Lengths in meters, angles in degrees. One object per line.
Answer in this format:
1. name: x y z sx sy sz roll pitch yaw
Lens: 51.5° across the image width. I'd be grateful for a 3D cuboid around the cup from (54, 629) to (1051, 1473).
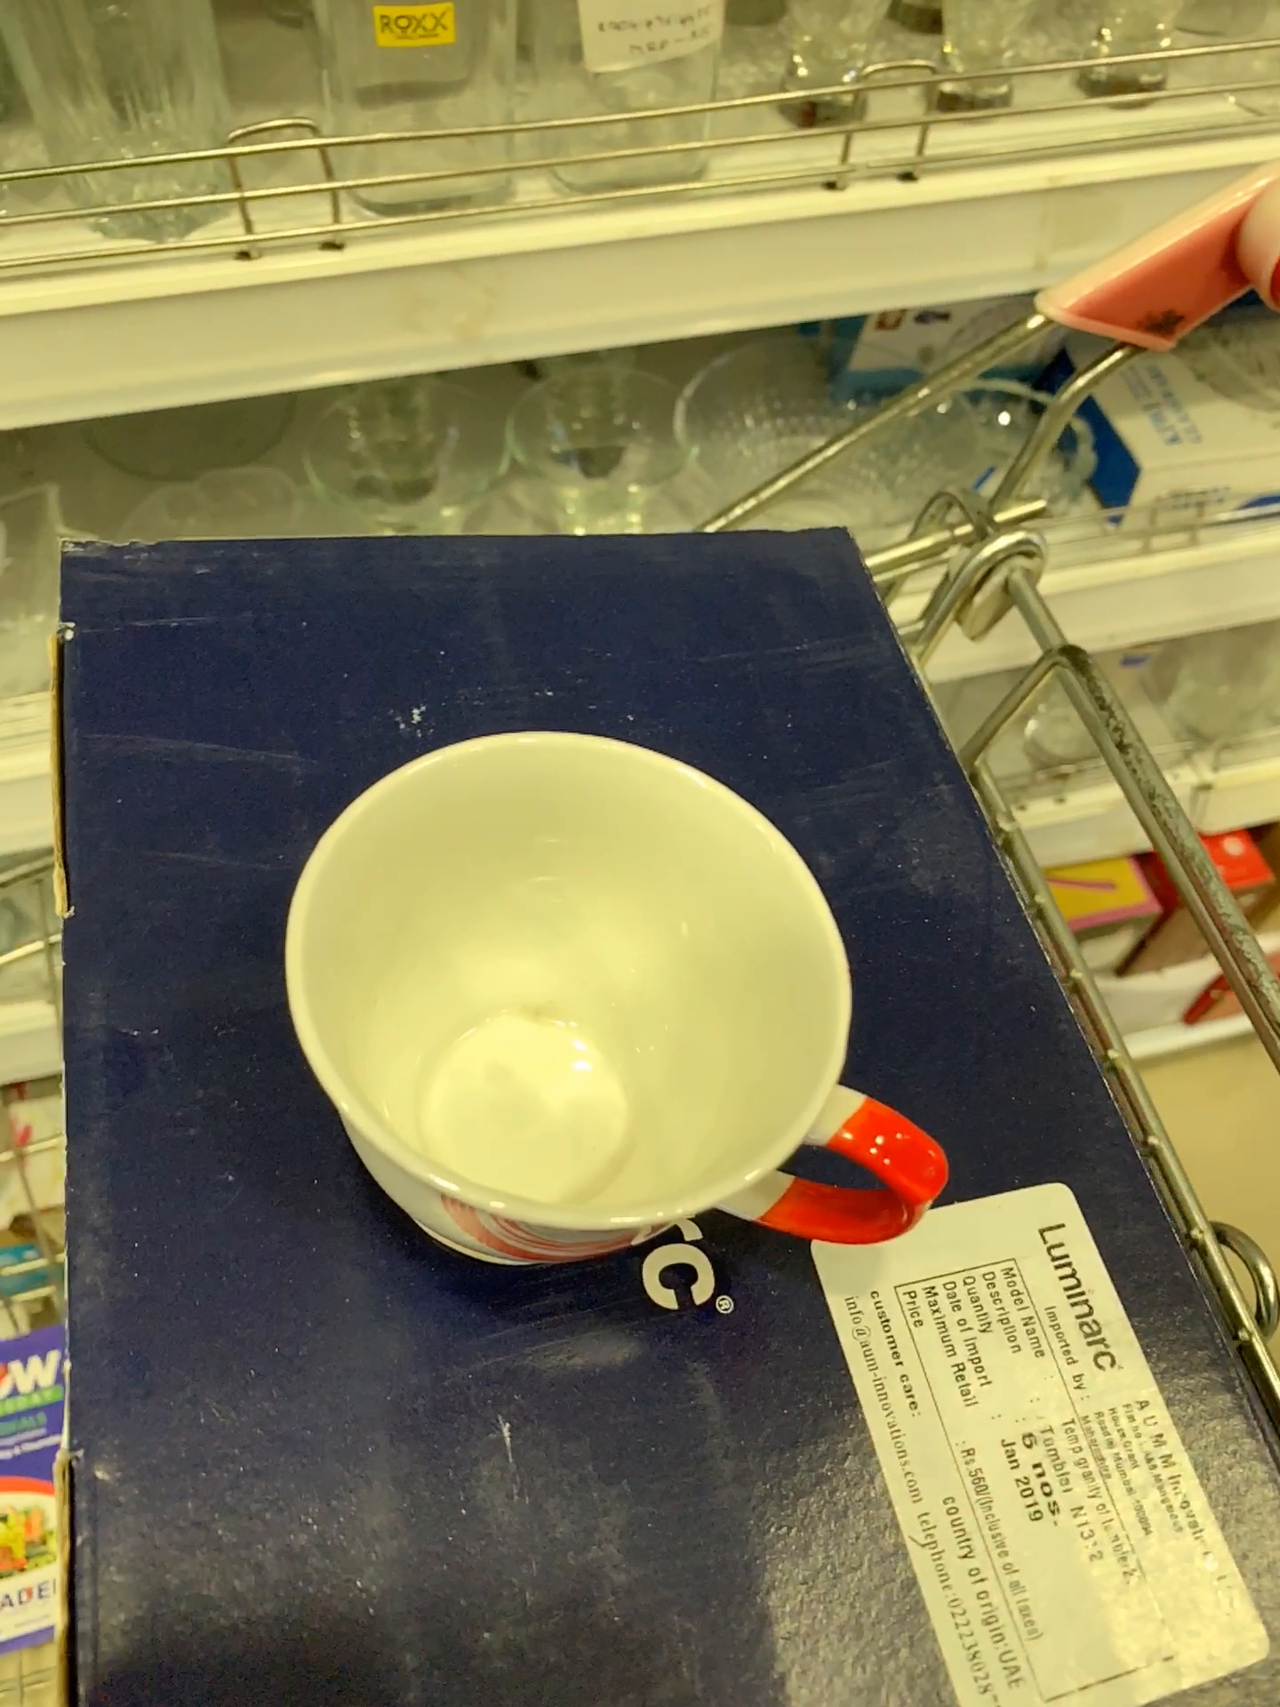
1. cup: -0.007 0.027 0.175 0.100 0.050 0.070 17 58 0
